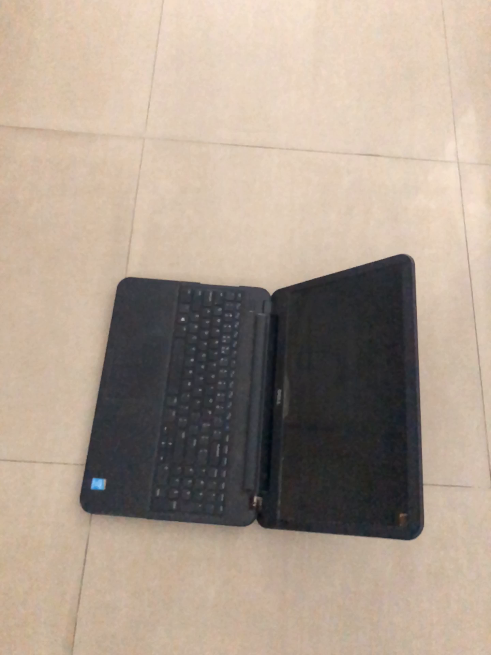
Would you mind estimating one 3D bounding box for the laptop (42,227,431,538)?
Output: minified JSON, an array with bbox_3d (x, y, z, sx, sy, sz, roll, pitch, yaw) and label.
[{"bbox_3d":[0.001,0.075,0.733,0.427,0.164,0.358,4,70,1],"label":"laptop"}]
